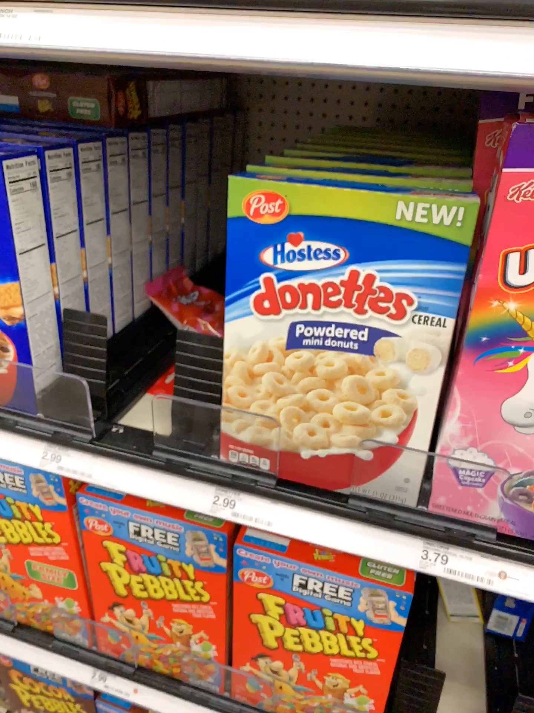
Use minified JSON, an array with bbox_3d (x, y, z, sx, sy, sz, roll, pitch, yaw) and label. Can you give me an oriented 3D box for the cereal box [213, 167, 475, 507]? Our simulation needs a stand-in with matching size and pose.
[{"bbox_3d":[0.055,-0.016,0.493,0.190,0.269,0.060,10,25,14],"label":"cereal box"}]
